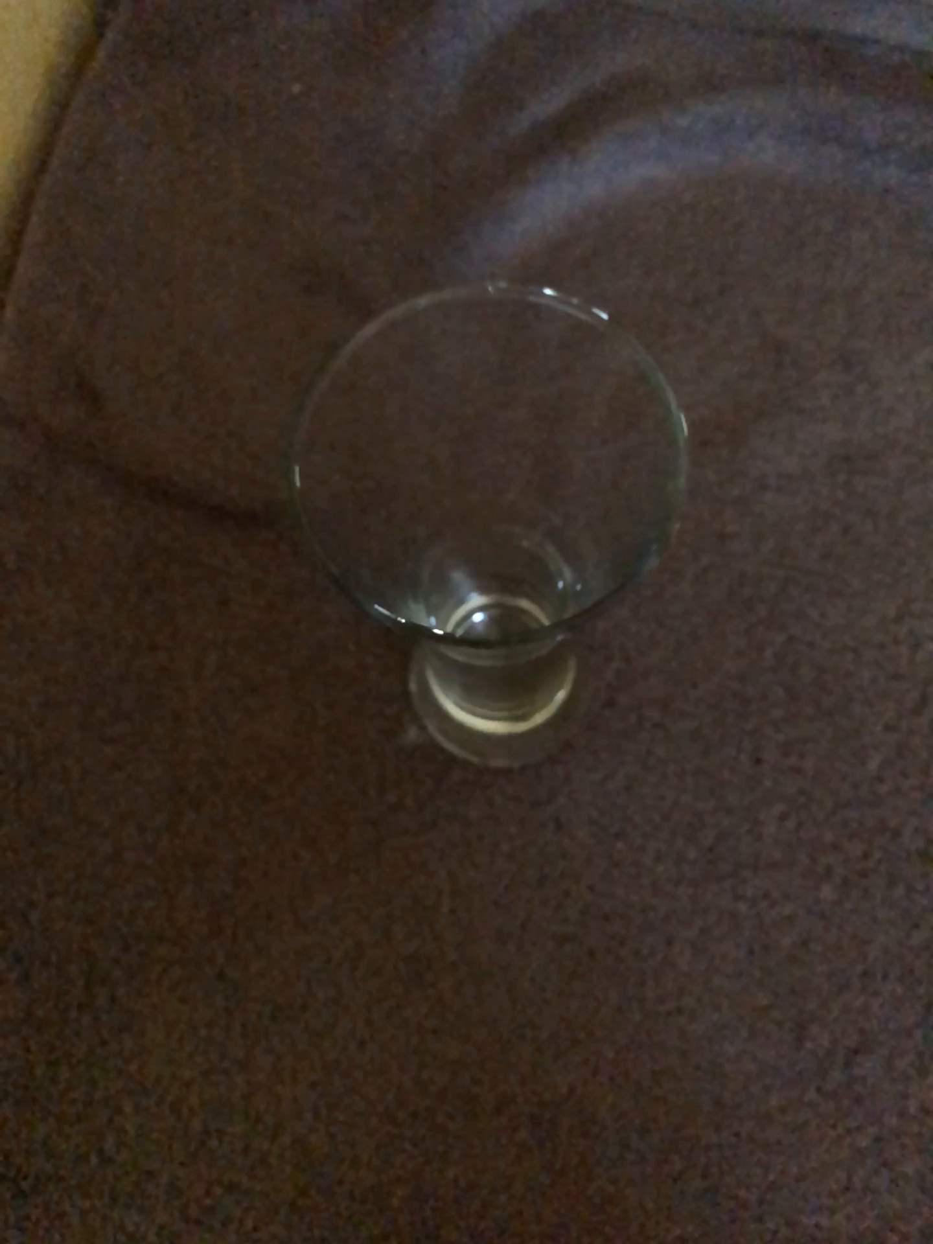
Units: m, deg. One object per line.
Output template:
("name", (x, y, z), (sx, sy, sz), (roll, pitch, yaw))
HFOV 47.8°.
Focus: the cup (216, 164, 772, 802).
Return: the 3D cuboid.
("cup", (0.005, -0.016, 0.252), (0.080, 0.150, 0.080), (-1, 72, 2))
